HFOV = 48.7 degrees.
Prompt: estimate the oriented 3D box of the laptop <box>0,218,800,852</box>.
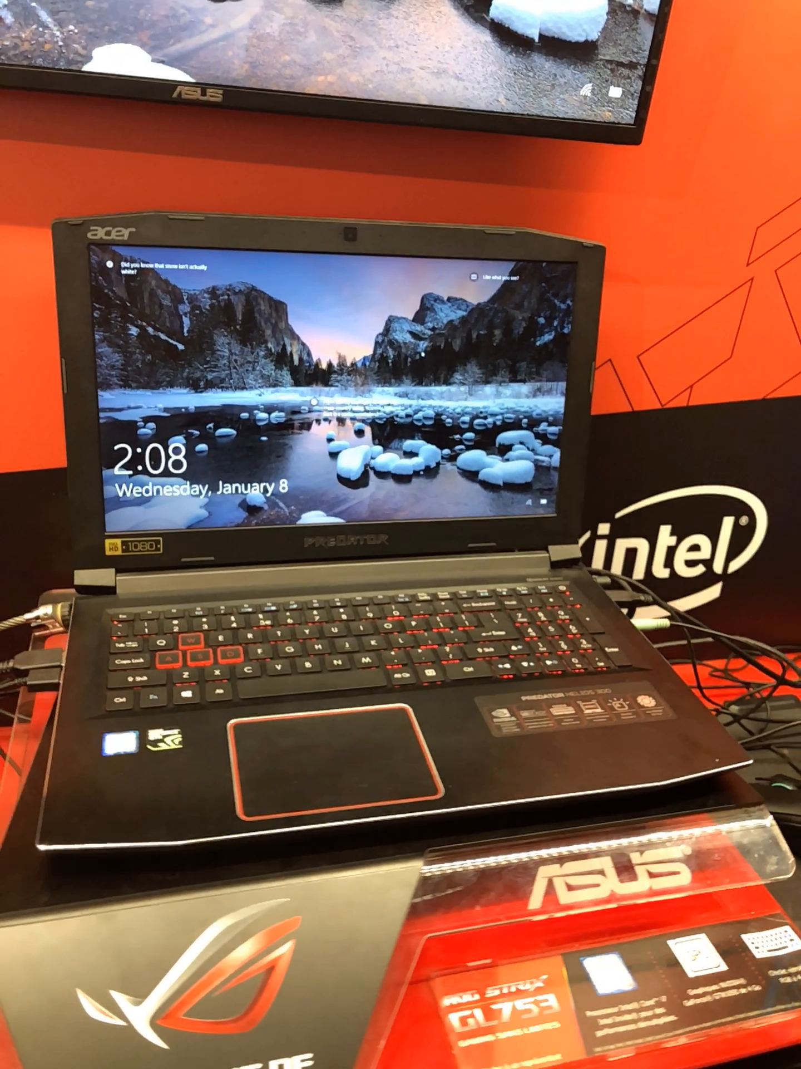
[{"bbox_3d":[-0.008,-0.037,0.539,0.385,0.240,0.295,-2,26,-14],"label":"laptop"}]
